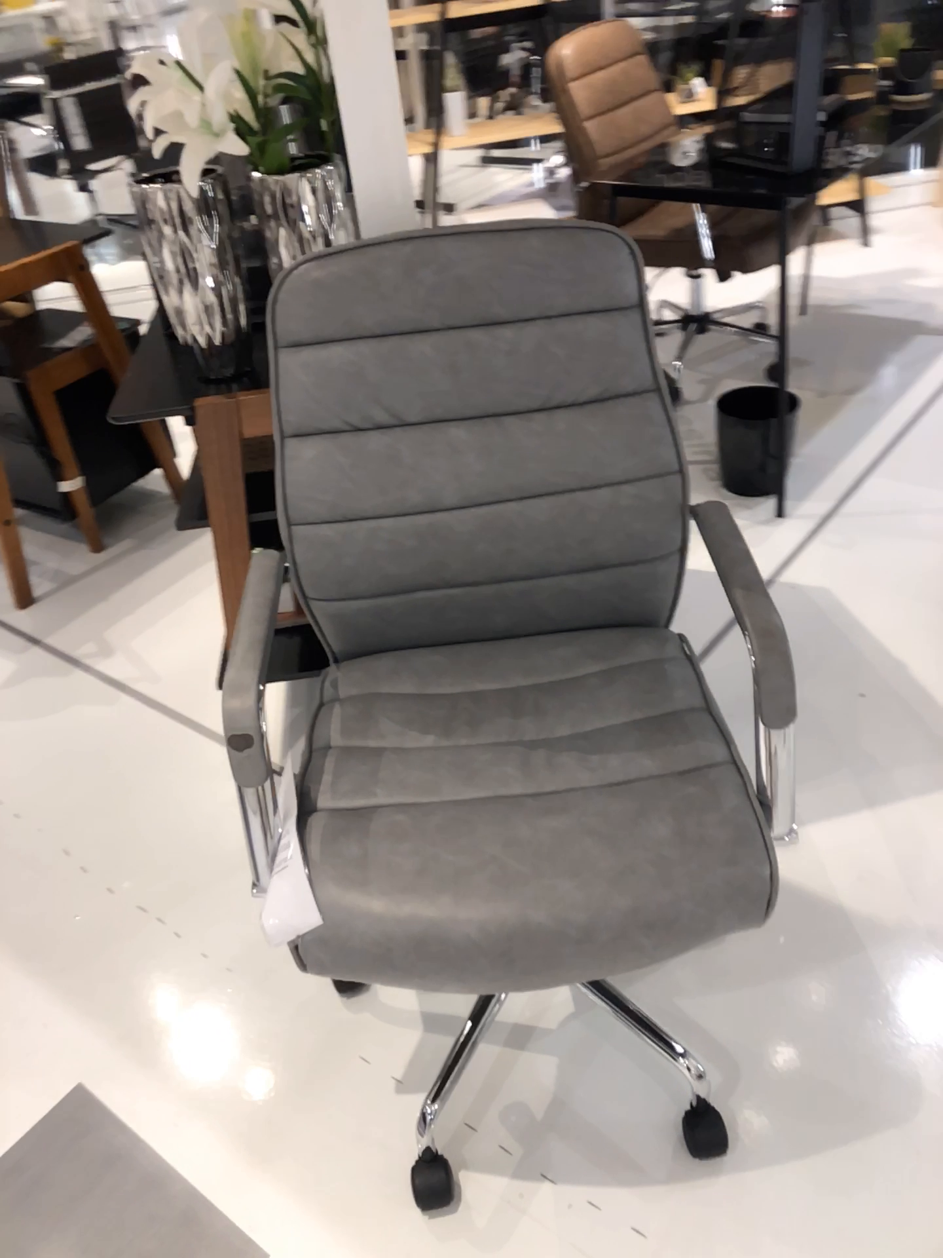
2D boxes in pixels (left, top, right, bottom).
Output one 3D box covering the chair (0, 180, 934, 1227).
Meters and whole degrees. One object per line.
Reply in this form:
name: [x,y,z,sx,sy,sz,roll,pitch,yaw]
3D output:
chair: [0.036,0.122,1.159,0.600,0.992,0.554,-6,35,3]
